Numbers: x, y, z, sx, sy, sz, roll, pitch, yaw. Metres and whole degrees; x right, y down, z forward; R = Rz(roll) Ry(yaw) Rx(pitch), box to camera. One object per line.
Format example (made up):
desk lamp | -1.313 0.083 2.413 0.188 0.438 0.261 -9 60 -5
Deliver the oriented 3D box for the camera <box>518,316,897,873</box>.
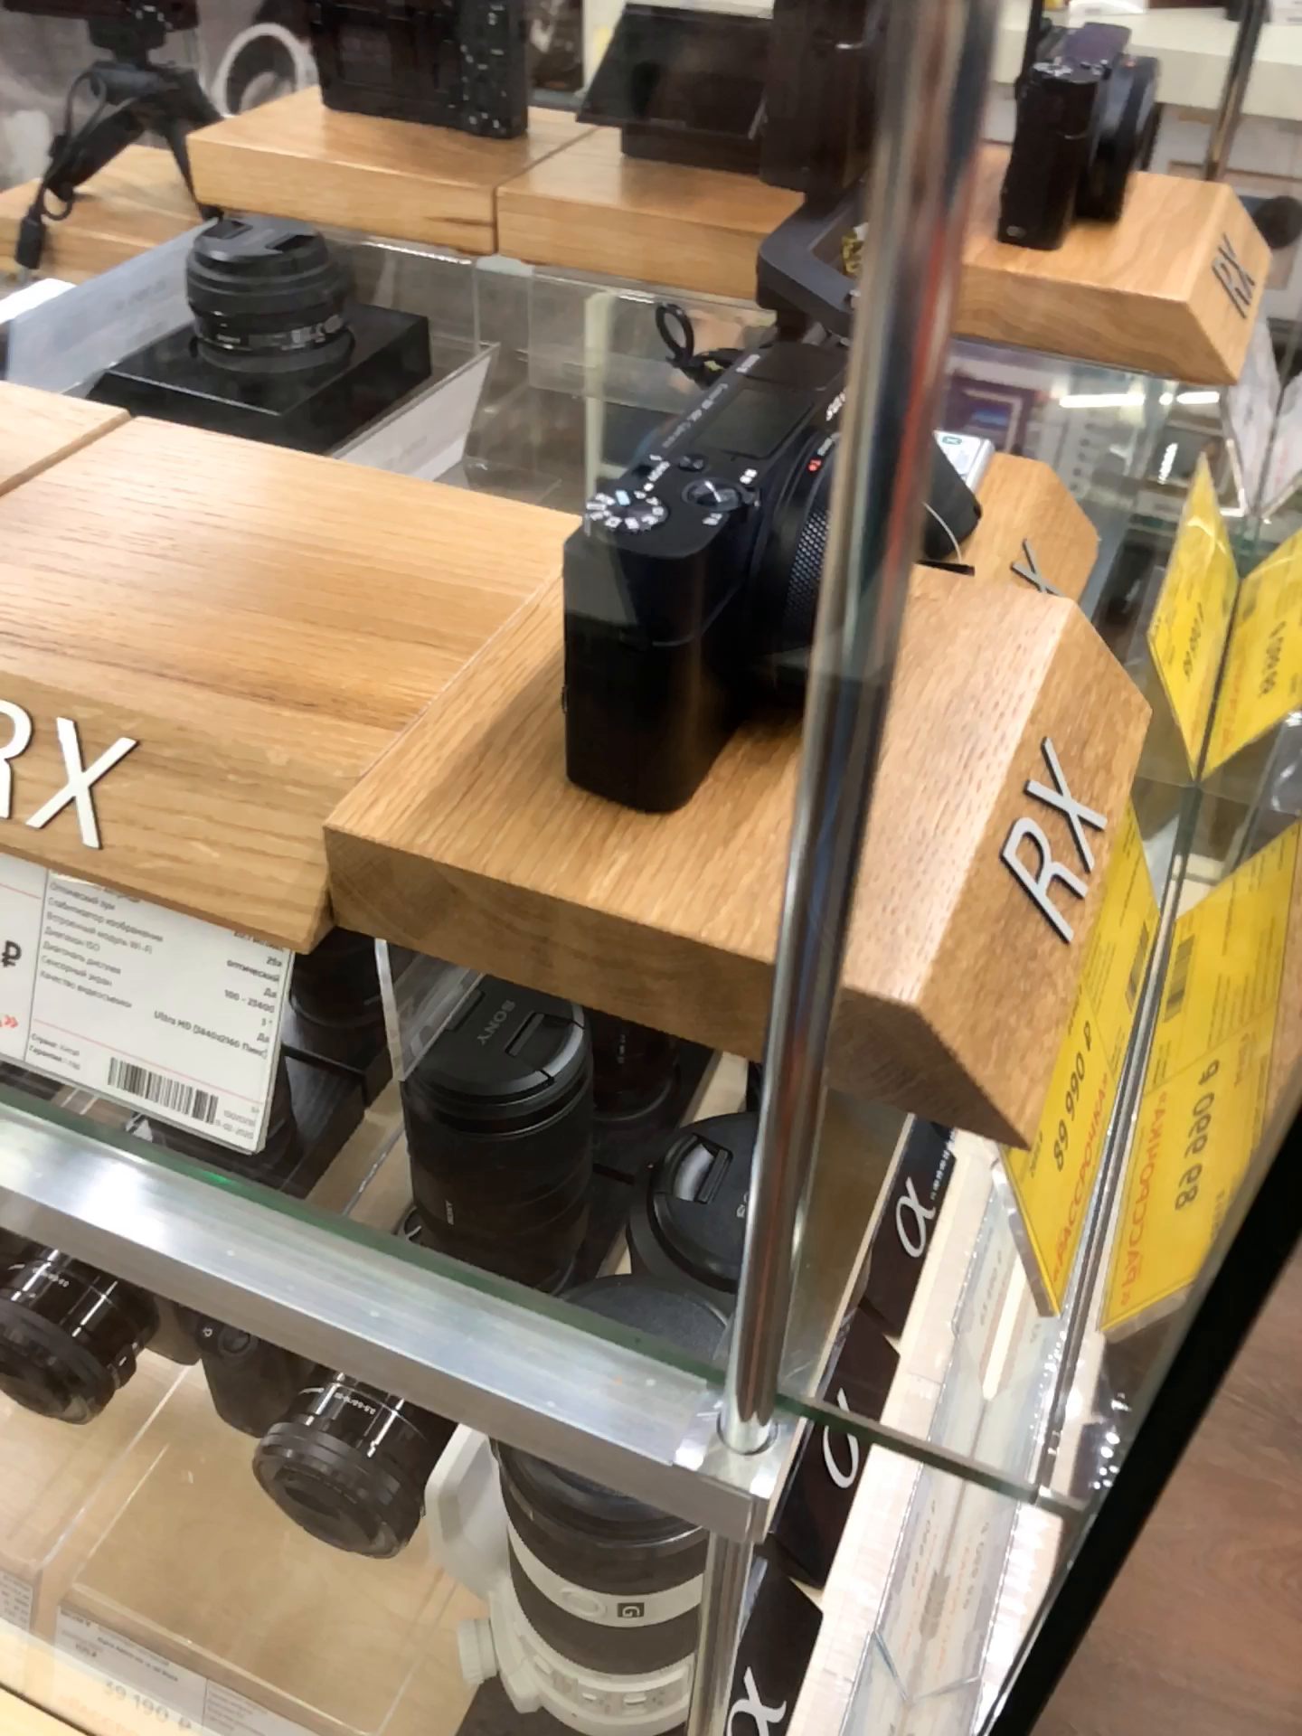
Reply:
camera | 0.014 -0.061 0.301 0.040 0.070 0.100 16 43 16

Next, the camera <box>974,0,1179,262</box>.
camera | 0.170 -0.302 0.570 0.040 0.070 0.143 16 43 16
